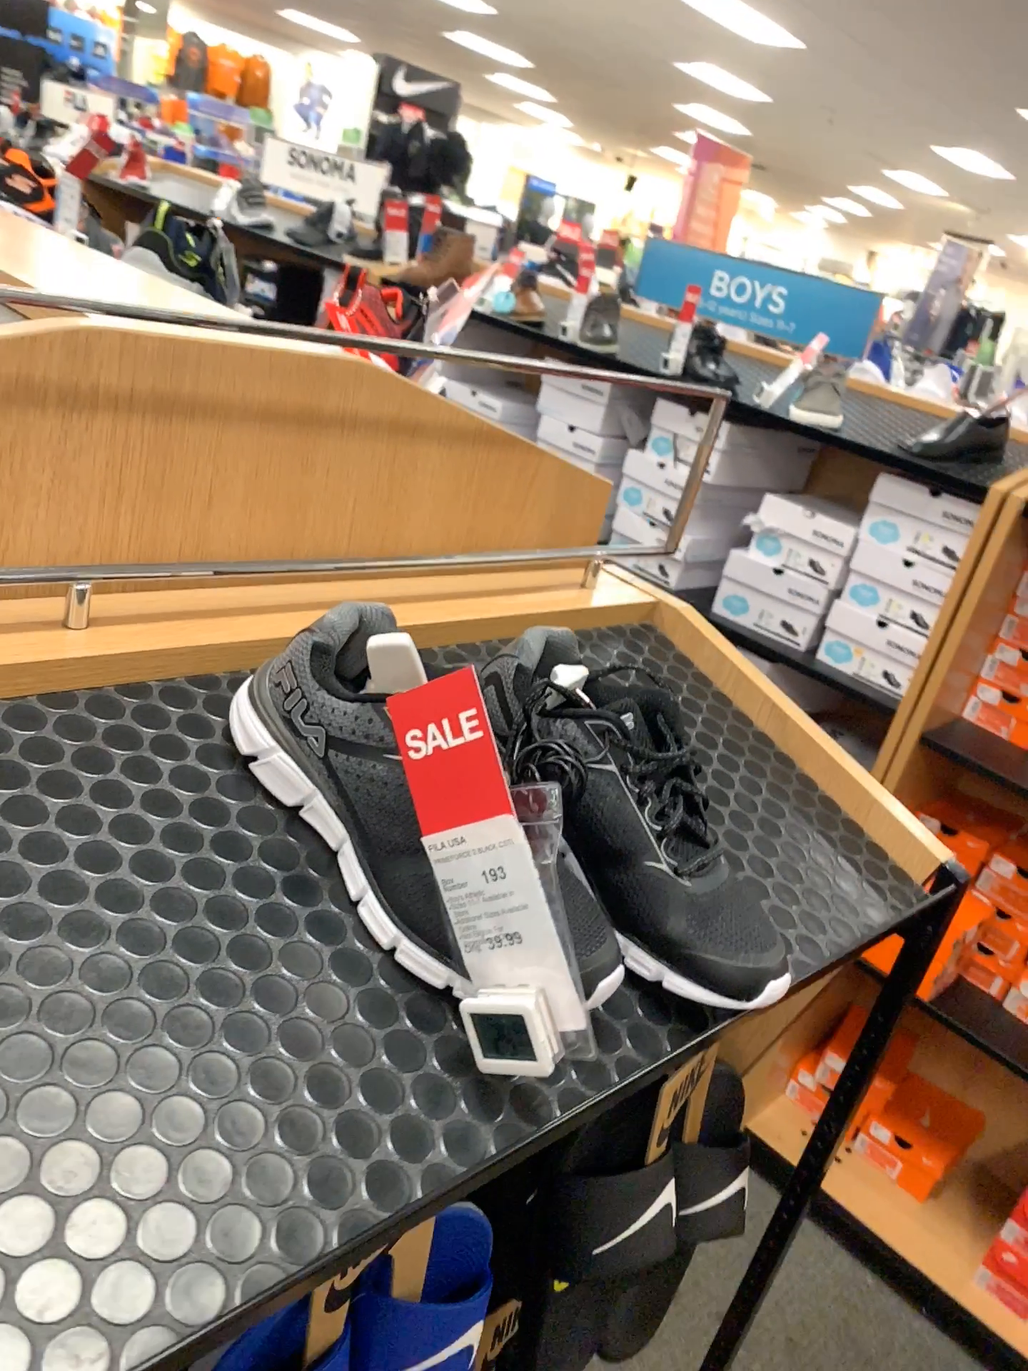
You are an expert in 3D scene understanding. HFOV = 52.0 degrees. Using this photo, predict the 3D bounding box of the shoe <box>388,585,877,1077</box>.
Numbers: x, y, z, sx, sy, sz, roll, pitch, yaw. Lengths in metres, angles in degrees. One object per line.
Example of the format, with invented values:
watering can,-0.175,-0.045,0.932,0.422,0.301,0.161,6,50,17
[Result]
shoe,0.056,0.068,0.575,0.100,0.089,0.245,-24,61,-42

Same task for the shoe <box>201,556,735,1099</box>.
shoe,-0.028,0.055,0.514,0.245,0.090,0.100,46,33,18
